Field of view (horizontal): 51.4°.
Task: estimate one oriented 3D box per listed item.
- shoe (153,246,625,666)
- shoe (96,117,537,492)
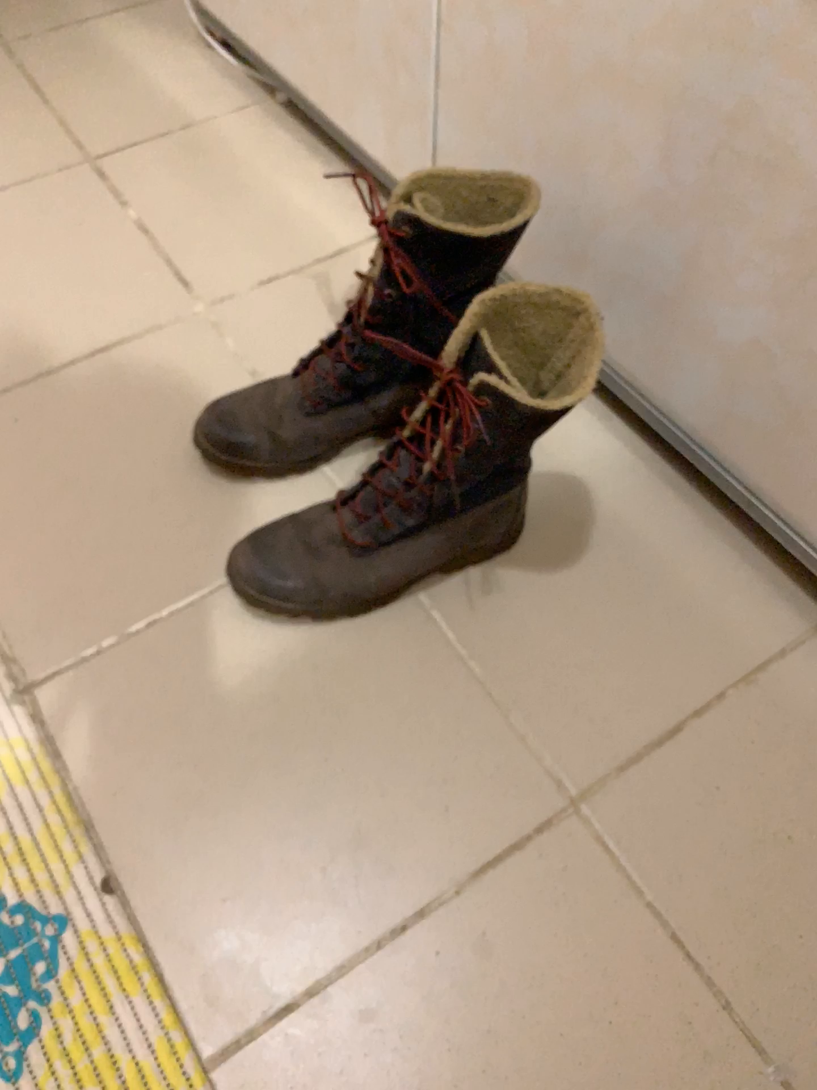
[{"bbox_3d":[-0.007,-0.053,0.637,0.280,0.249,0.100,-19,57,-9],"label":"shoe"},{"bbox_3d":[-0.067,-0.179,0.681,0.280,0.249,0.100,-13,64,-9],"label":"shoe"}]
